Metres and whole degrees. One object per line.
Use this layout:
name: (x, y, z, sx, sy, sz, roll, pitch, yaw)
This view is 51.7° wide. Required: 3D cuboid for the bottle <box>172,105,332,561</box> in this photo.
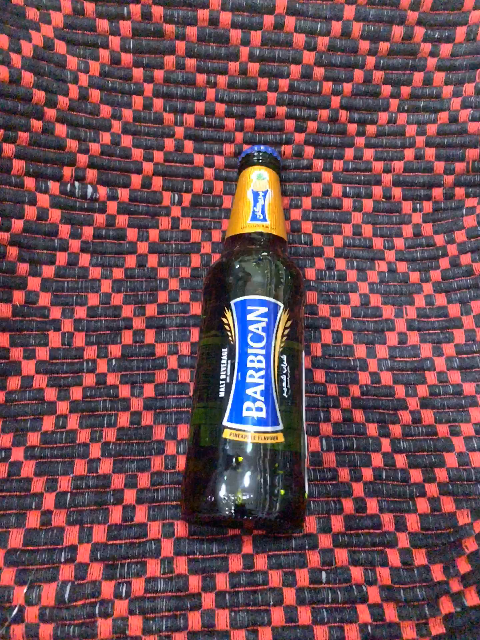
bottle: (0.006, -0.008, 0.279, 0.060, 0.070, 0.250, 4, 59, -3)
